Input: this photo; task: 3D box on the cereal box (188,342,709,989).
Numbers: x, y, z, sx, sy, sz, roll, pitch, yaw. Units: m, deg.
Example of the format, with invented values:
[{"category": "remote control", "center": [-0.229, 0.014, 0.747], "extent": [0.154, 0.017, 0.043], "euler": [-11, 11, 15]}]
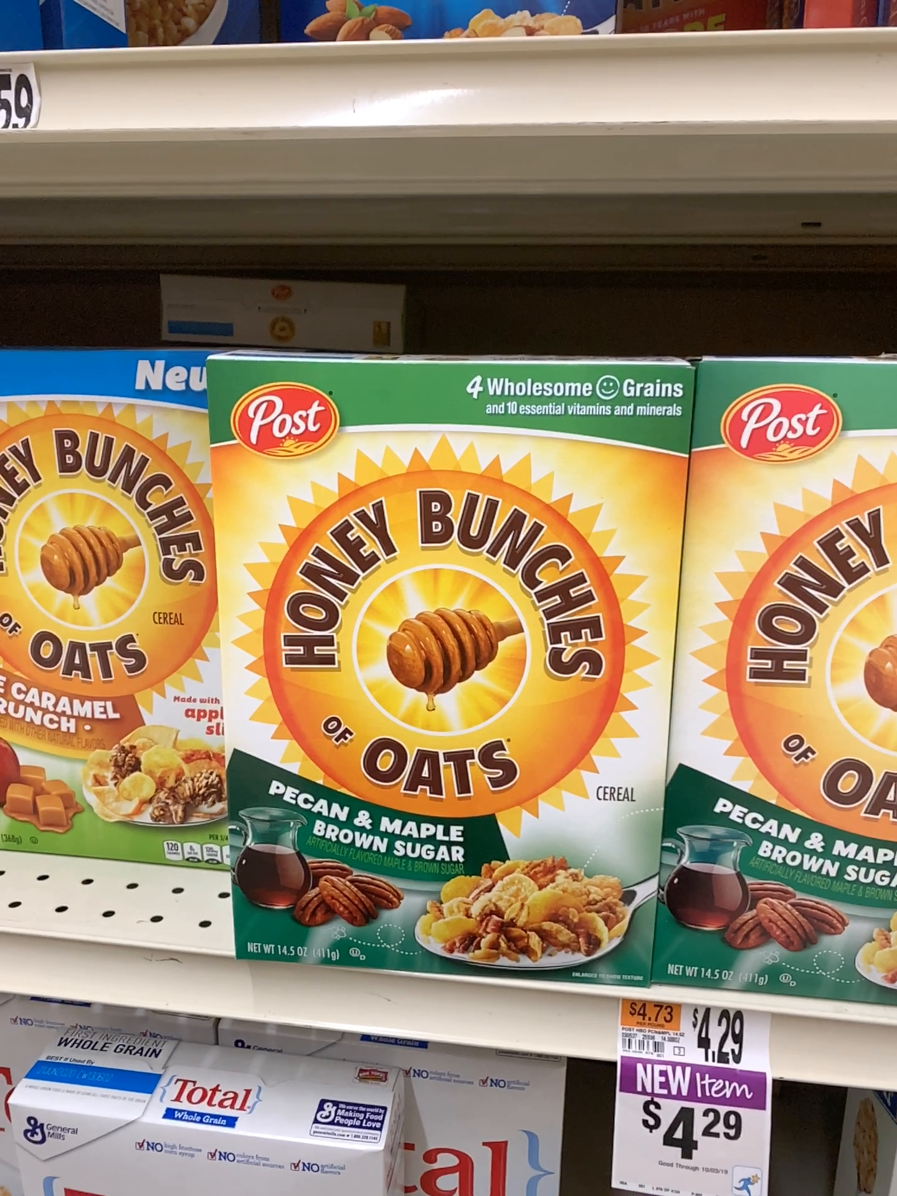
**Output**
[{"category": "cereal box", "center": [-0.002, 0.030, 0.417], "extent": [0.200, 0.279, 0.060], "euler": [2, 15, 4]}]
